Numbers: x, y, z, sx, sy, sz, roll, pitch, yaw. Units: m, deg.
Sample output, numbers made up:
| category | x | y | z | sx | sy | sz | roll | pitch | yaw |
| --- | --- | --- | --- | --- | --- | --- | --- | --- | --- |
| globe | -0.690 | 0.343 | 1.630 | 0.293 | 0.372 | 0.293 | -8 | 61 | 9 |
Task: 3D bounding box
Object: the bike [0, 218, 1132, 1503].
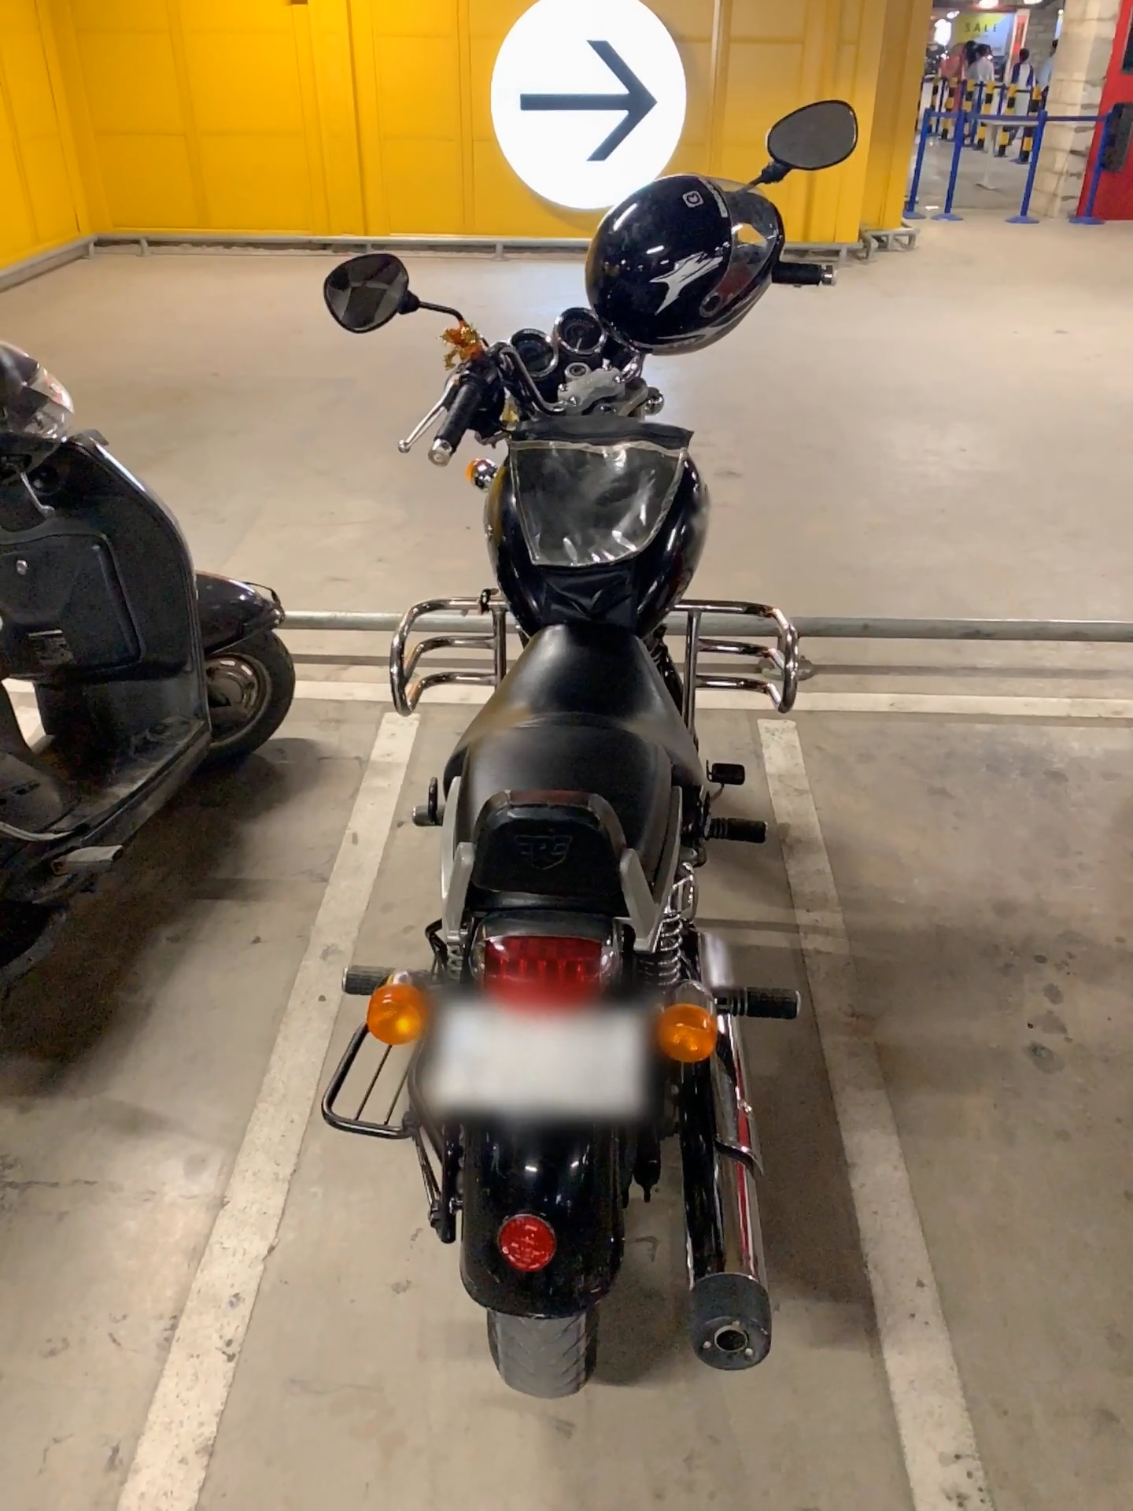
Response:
| category | x | y | z | sx | sy | sz | roll | pitch | yaw |
| --- | --- | --- | --- | --- | --- | --- | --- | --- | --- |
| bike | -0.046 | -0.146 | 2.025 | 0.828 | 1.228 | 2.087 | 0 | 31 | -1 |
